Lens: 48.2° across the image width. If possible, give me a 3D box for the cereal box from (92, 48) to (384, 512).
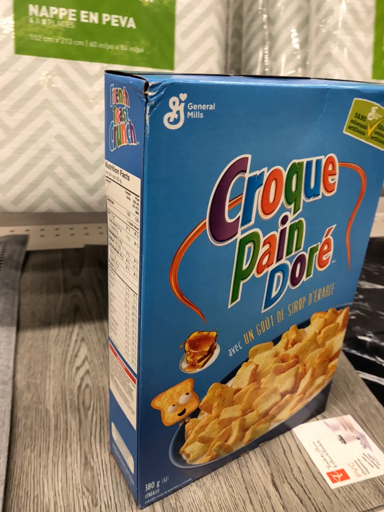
[{"bbox_3d":[0.044,0.018,0.300,0.210,0.279,0.050,-11,28,-31],"label":"cereal box"}]
